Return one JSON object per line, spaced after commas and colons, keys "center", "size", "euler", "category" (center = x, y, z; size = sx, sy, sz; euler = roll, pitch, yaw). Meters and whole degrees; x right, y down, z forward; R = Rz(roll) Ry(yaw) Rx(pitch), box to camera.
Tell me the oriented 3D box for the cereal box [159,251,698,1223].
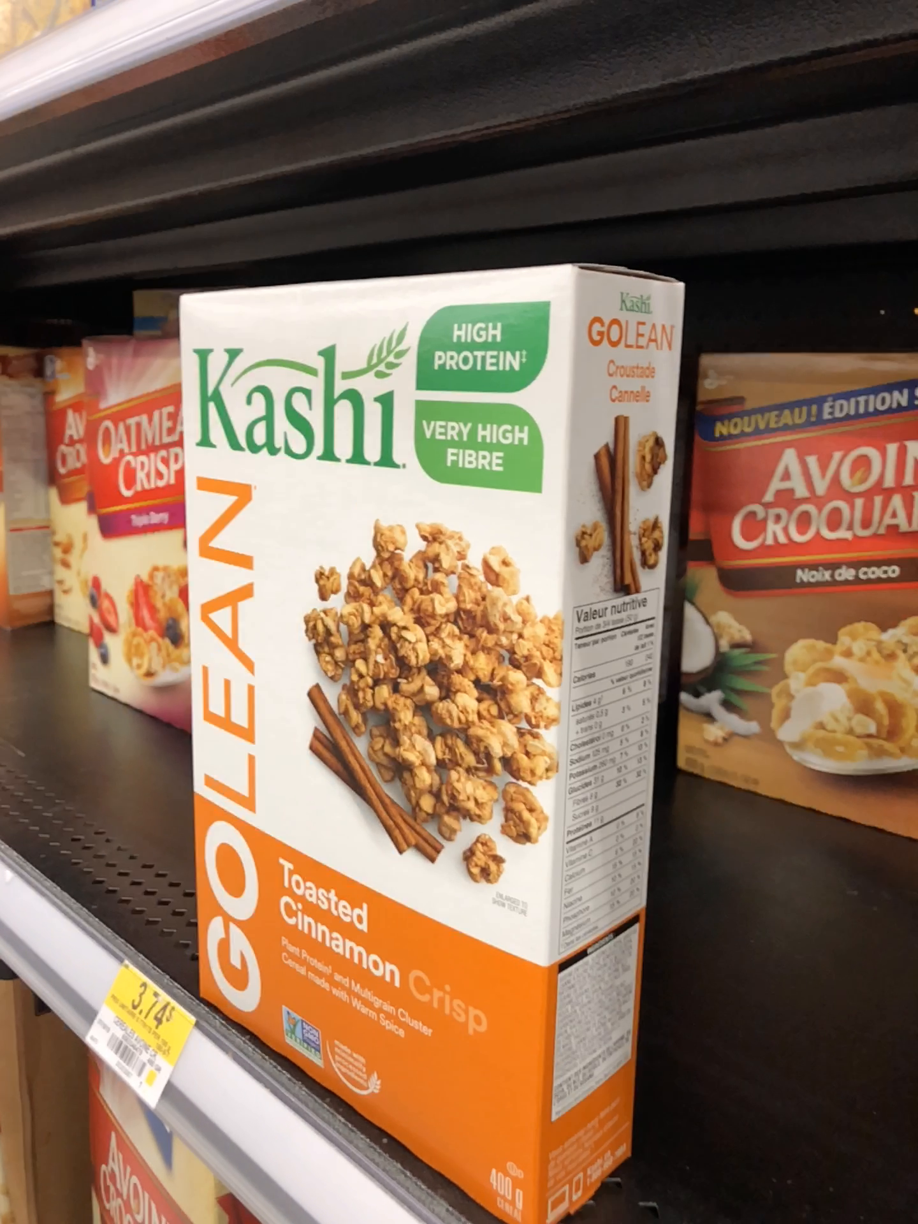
{"center": [-0.022, 0.027, 0.318], "size": [0.170, 0.249, 0.050], "euler": [12, 16, 42], "category": "cereal box"}
